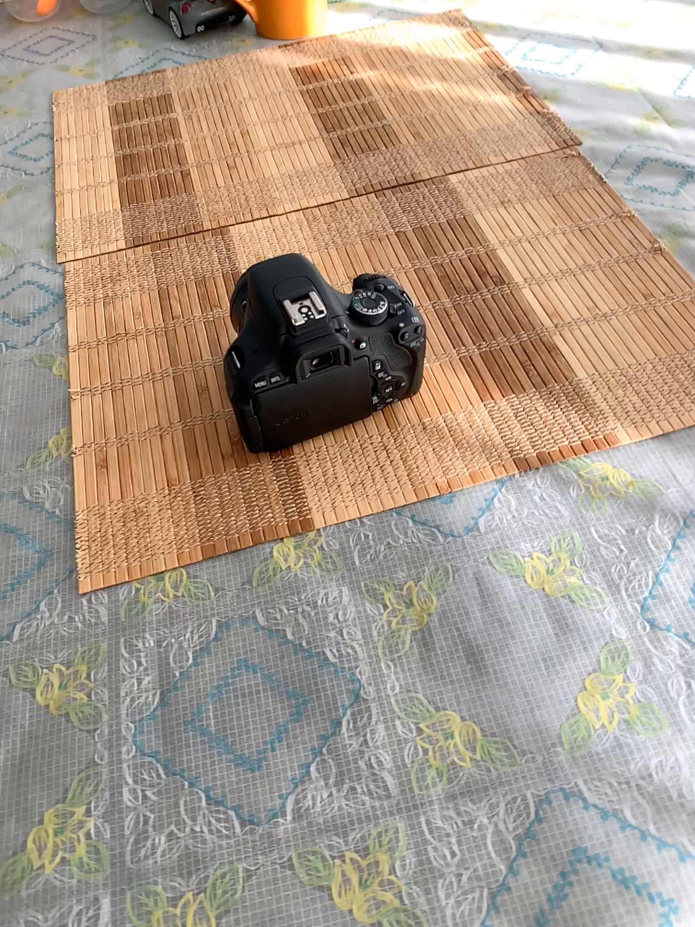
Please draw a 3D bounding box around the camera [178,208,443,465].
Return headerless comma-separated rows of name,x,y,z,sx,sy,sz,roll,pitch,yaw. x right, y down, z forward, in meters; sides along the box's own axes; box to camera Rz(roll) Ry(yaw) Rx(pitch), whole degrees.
camera,-0.023,-0.085,0.464,0.133,0.080,0.106,-21,54,-10
